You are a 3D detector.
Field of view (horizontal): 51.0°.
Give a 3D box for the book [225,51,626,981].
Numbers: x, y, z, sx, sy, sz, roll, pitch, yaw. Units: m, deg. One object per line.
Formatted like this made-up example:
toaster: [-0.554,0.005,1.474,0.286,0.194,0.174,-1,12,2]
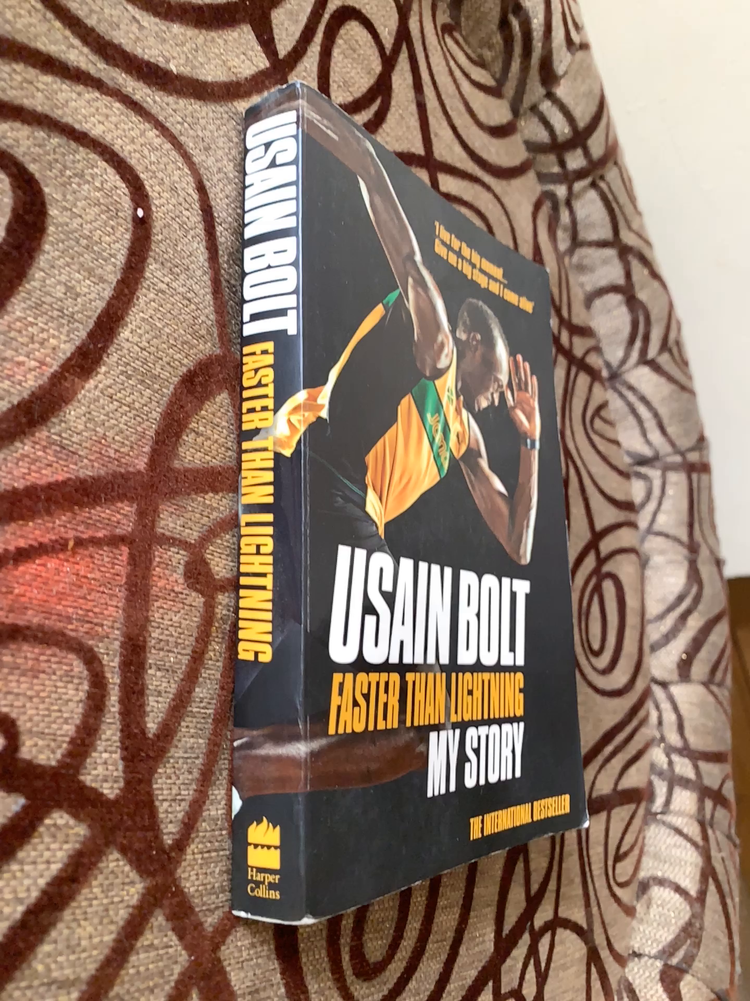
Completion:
book: [0.023,0.003,0.228,0.141,0.030,0.200,16,68,-50]
